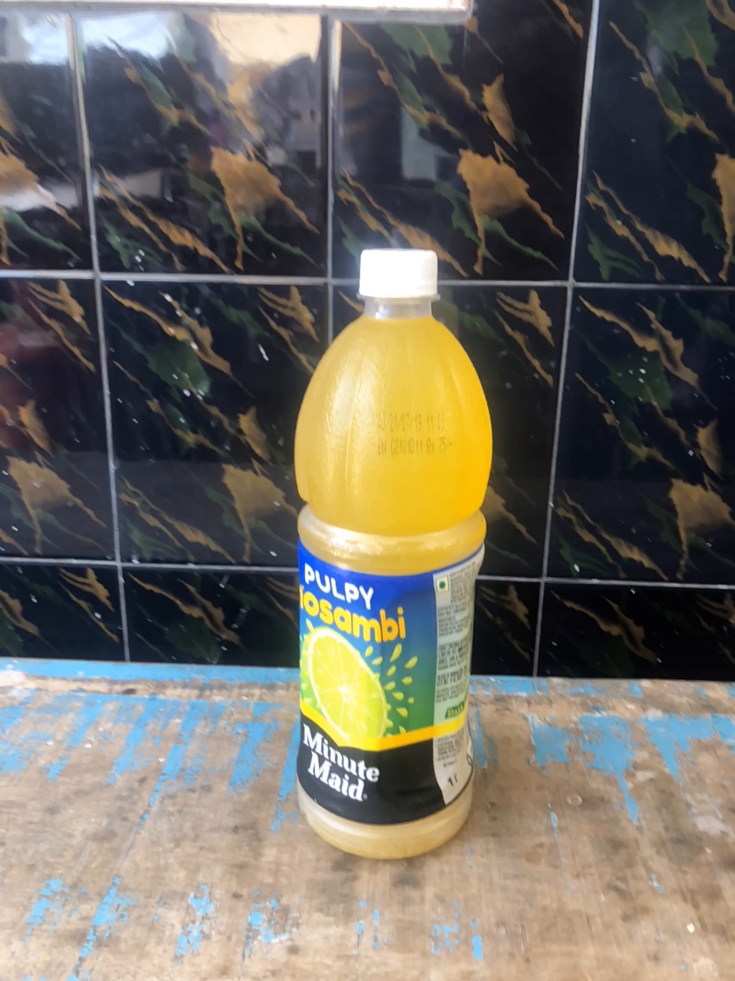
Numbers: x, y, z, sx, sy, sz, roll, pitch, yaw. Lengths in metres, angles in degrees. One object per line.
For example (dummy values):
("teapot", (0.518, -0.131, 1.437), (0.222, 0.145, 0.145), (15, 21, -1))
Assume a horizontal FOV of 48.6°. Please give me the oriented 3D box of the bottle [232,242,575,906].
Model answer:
("bottle", (0.015, 0.026, 0.350), (0.090, 0.249, 0.100), (14, 23, 35))
